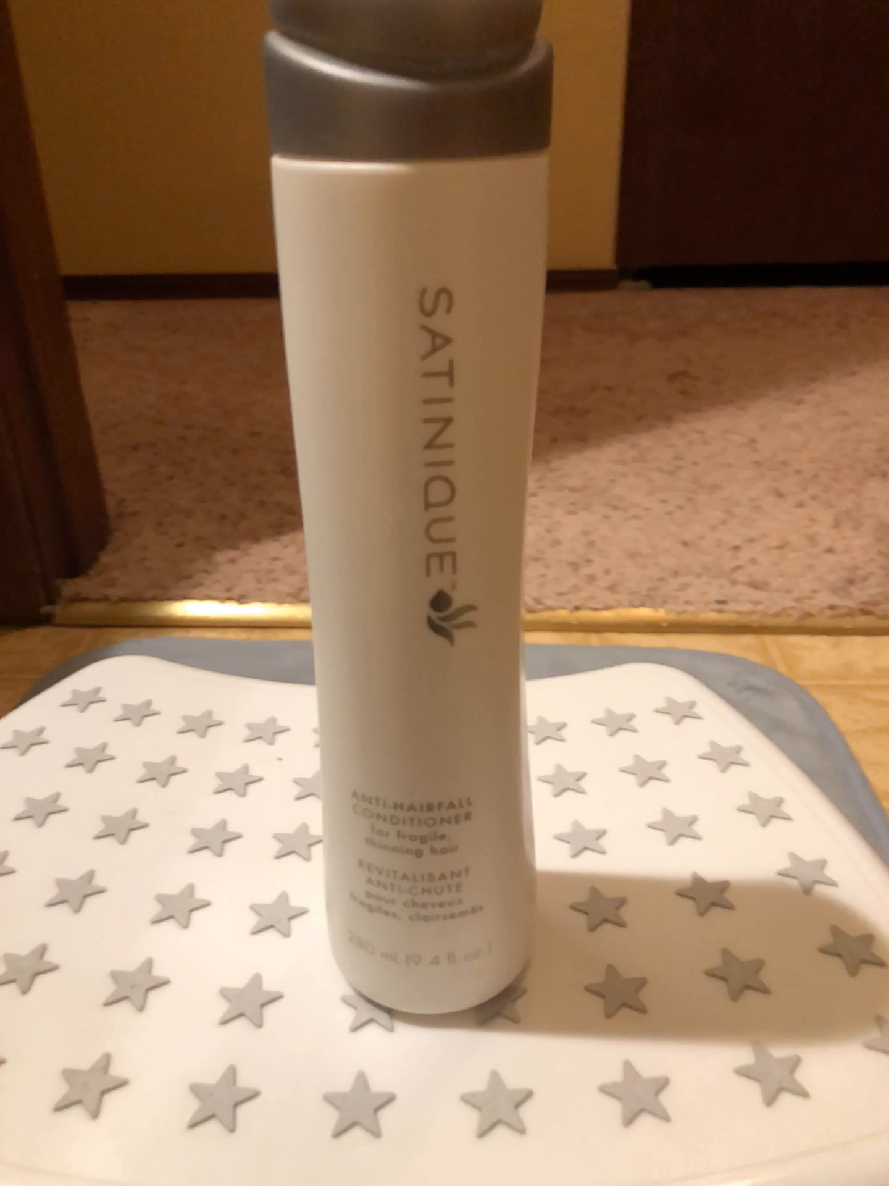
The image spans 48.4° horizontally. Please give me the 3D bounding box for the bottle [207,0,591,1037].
[{"bbox_3d":[-0.001,-0.006,0.201,0.050,0.209,0.050,-1,27,1],"label":"bottle"}]
